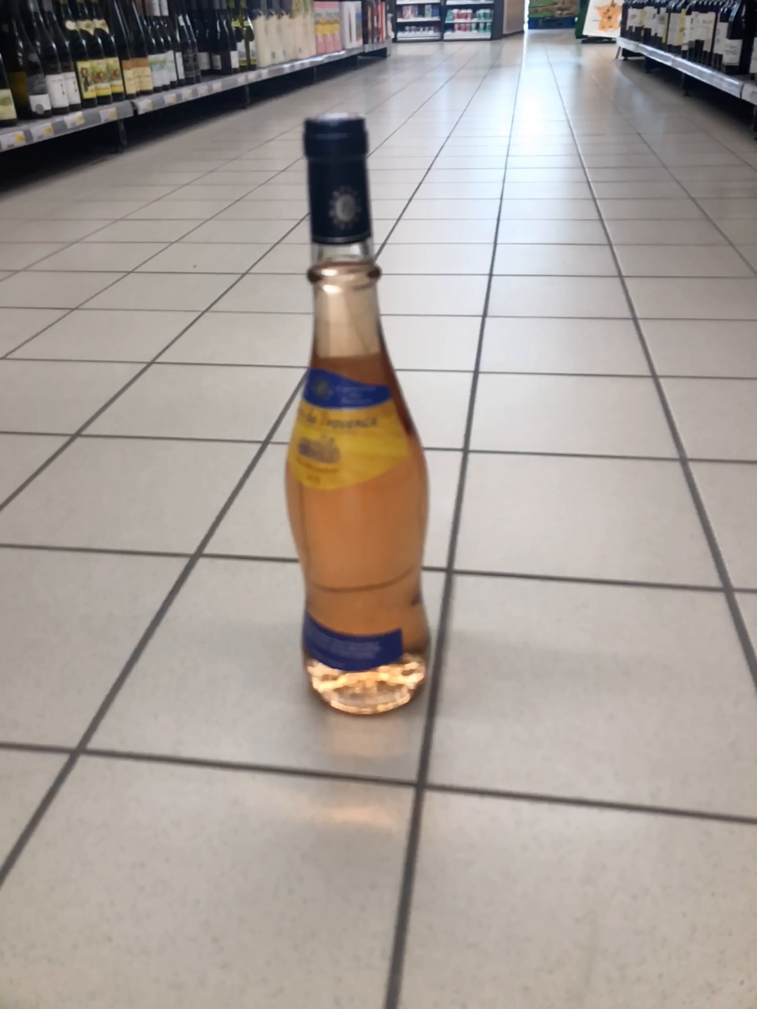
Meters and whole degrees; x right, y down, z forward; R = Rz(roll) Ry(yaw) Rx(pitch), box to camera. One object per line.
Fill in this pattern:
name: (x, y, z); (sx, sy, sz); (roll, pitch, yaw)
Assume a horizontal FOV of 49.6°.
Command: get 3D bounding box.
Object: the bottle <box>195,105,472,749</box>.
bottle: (-0.014, -0.031, 0.434); (0.090, 0.318, 0.080); (21, 37, 35)
